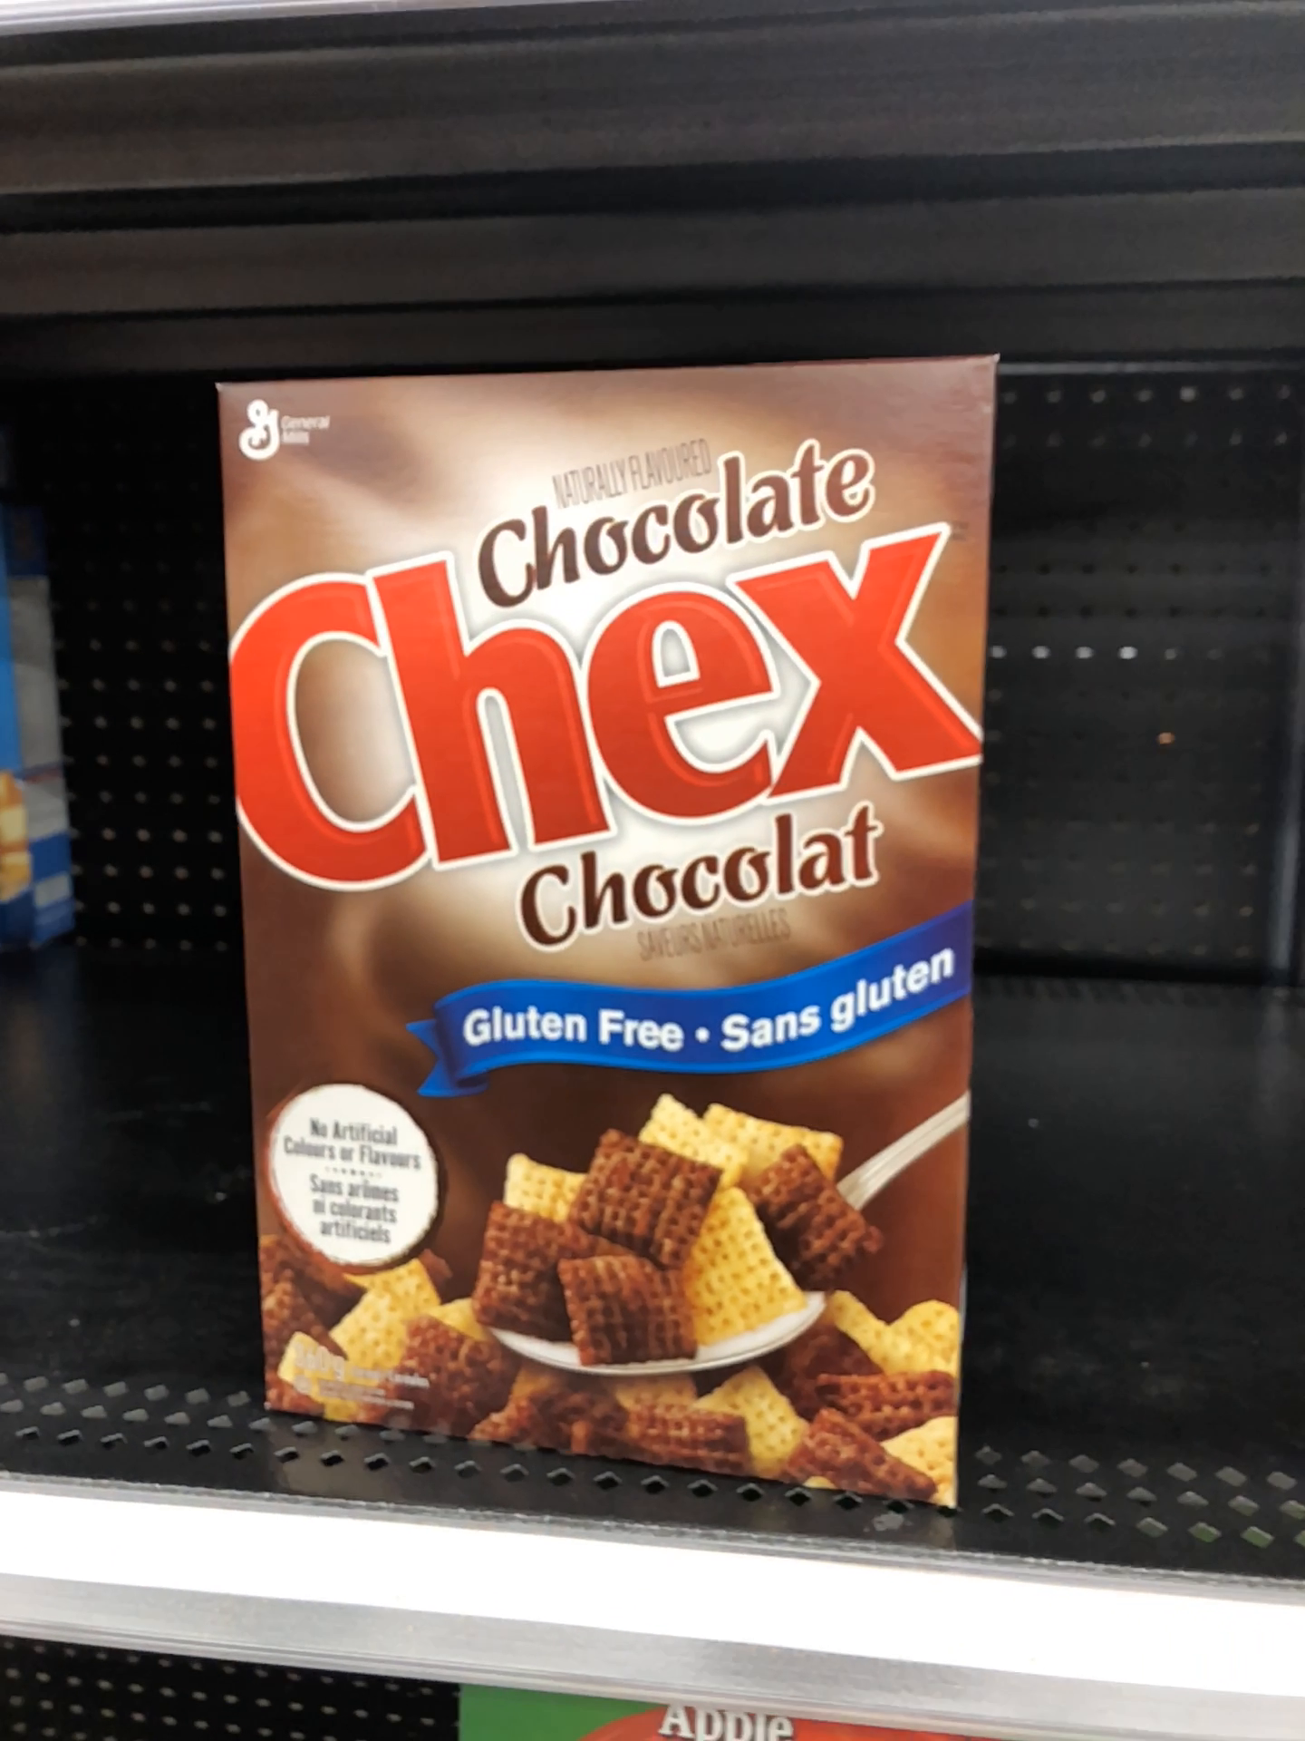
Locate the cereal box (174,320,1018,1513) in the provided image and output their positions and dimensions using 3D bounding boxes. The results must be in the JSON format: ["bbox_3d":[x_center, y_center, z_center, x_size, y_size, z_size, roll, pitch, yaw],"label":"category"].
[{"bbox_3d":[-0.013,0.011,0.381,0.200,0.279,0.050,2,11,14],"label":"cereal box"}]
